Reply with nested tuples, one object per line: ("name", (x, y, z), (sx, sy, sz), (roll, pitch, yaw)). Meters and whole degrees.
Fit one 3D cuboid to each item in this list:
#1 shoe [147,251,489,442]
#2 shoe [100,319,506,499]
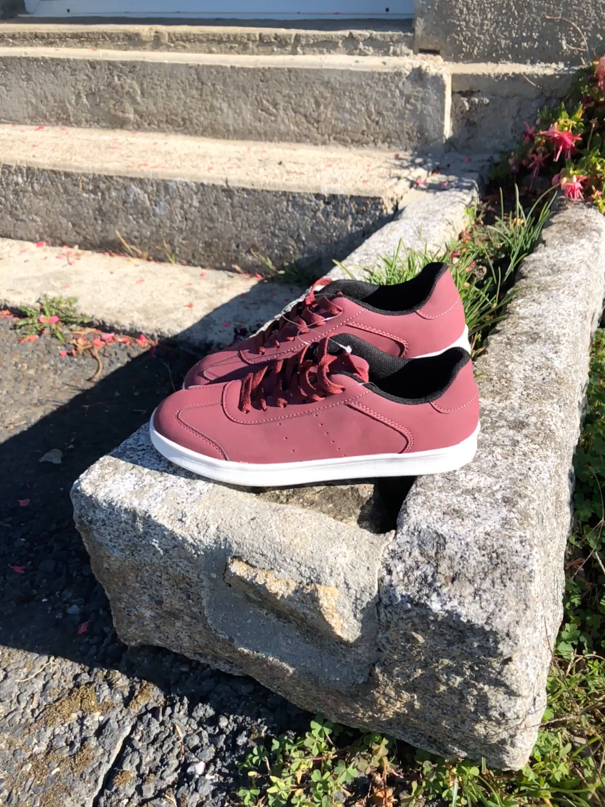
("shoe", (0.014, -0.050, 0.571), (0.260, 0.080, 0.101), (-10, 31, 6))
("shoe", (0.003, -0.001, 0.488), (0.260, 0.080, 0.101), (2, 31, 5))
